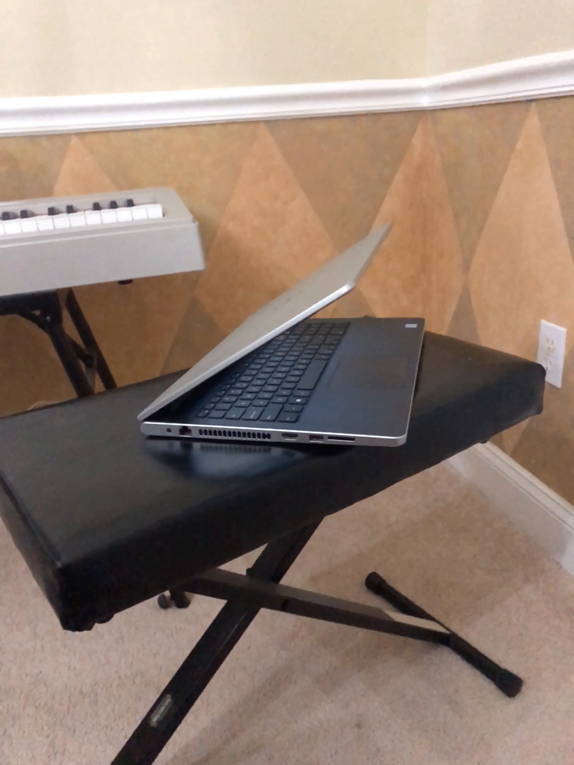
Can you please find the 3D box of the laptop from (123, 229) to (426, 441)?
[{"bbox_3d":[0.024,-0.084,0.748,0.256,0.132,0.378,2,23,14],"label":"laptop"}]
